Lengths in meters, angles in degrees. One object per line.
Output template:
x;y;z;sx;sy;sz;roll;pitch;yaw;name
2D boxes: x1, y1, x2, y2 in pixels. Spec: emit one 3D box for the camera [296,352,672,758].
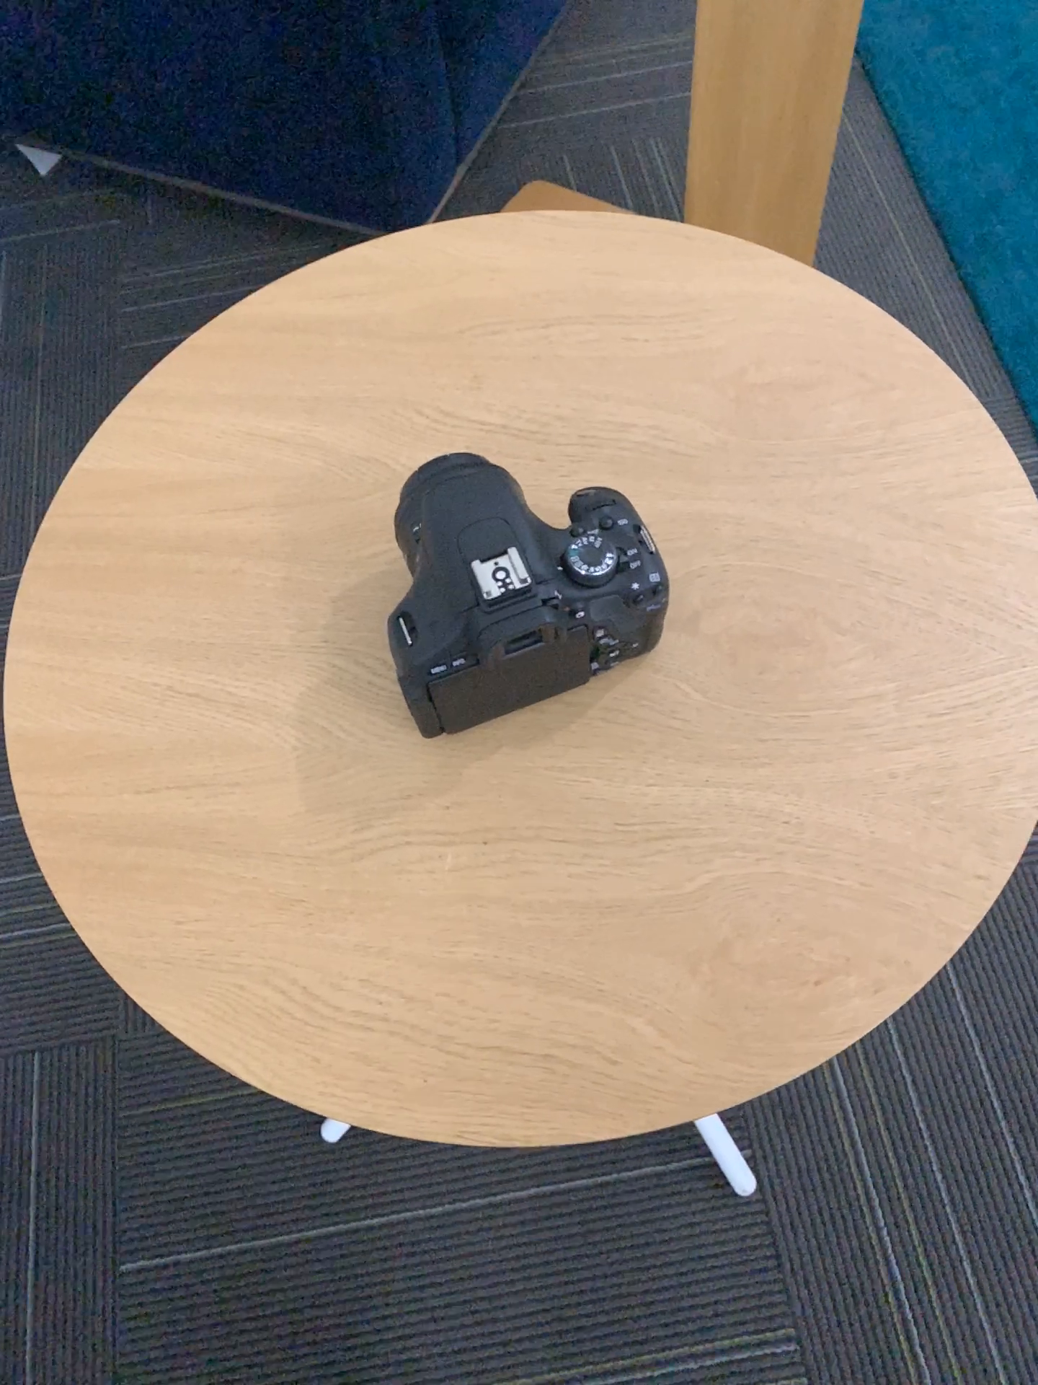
-0.015;-0.063;0.503;0.130;0.100;0.120;-20;64;-5;camera
